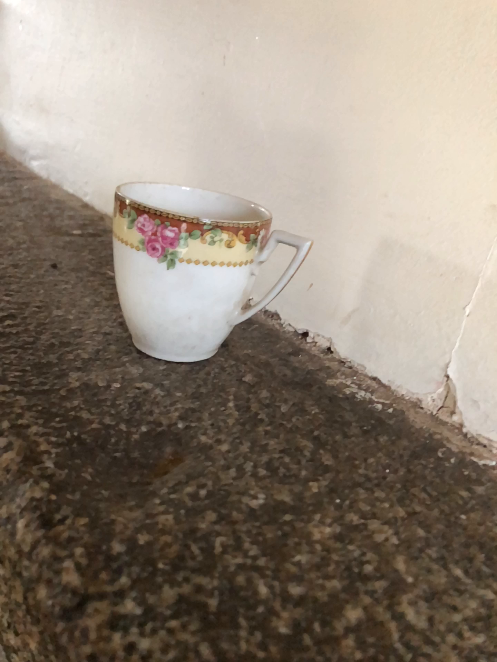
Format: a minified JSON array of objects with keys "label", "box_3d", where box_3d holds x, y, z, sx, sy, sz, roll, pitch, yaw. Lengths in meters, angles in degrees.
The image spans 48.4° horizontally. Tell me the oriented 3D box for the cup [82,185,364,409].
[{"label":"cup","box_3d":[-0.013,-0.023,0.237,0.090,0.060,0.070,23,26,31]}]
